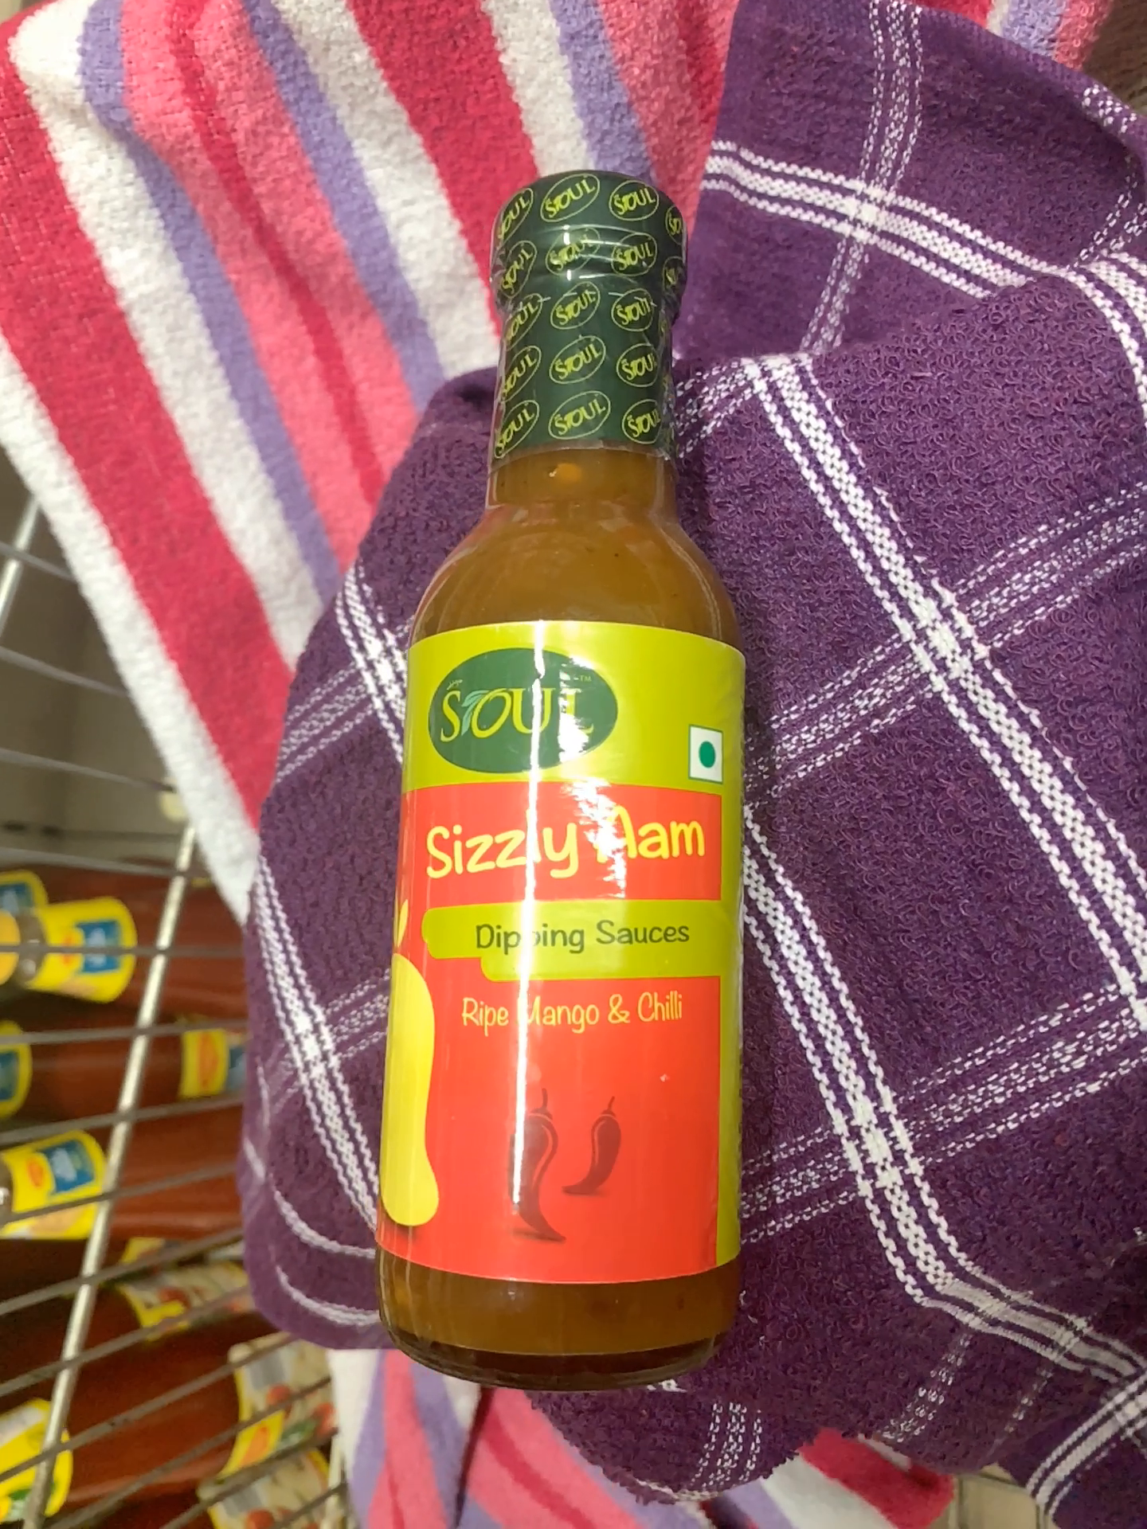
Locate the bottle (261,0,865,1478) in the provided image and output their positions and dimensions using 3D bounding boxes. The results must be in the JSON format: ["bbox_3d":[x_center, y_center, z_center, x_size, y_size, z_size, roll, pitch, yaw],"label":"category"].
[{"bbox_3d":[0.004,-0.016,0.185,0.060,0.060,0.200,-2,80,34],"label":"bottle"}]
